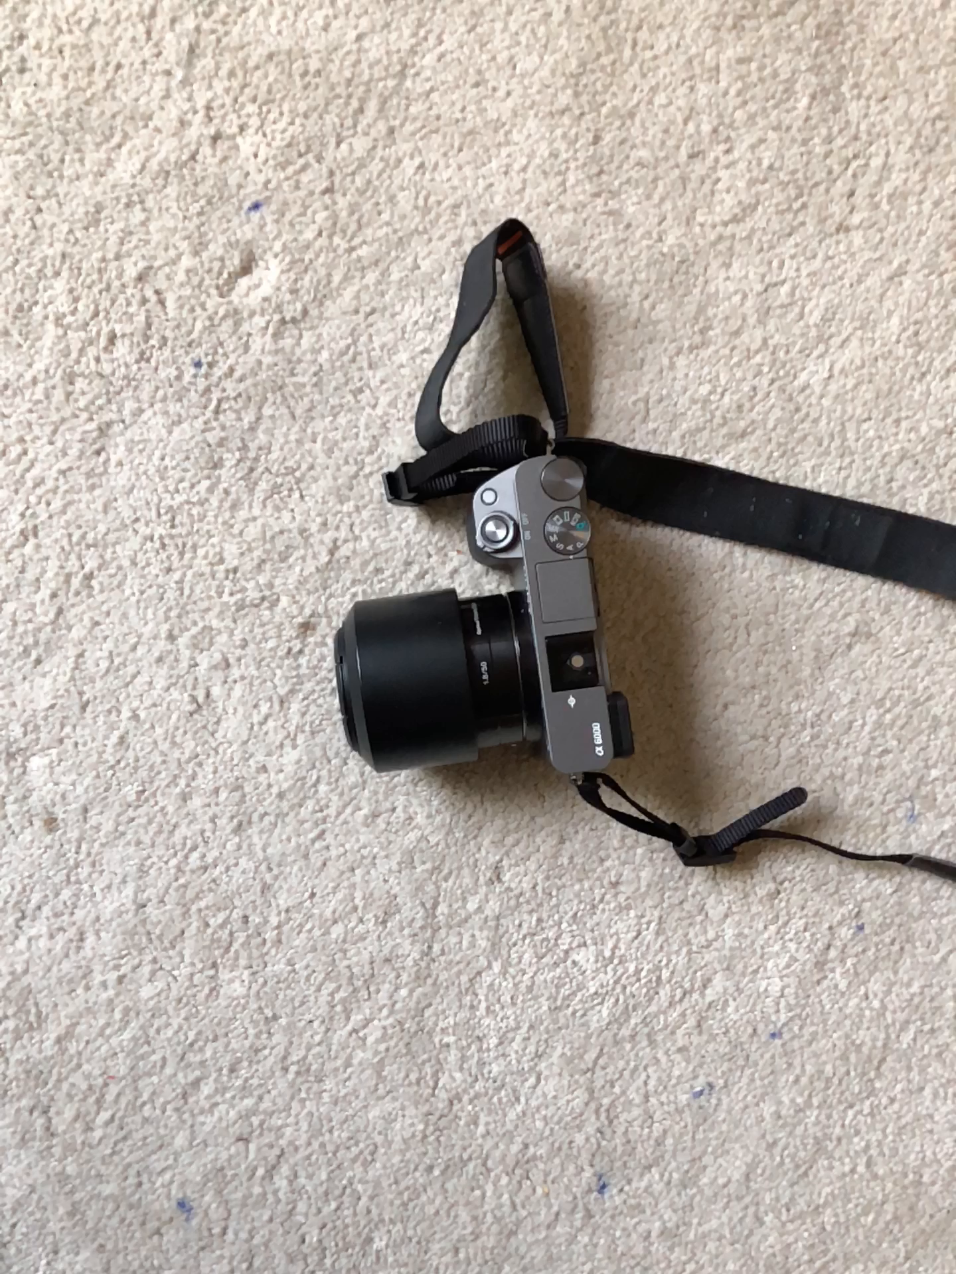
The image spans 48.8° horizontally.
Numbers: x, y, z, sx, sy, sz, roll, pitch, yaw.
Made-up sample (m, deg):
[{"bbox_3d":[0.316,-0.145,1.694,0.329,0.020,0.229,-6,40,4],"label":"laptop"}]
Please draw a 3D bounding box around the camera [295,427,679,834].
[{"bbox_3d":[0.001,-0.002,0.416,0.120,0.080,0.130,-8,88,-4],"label":"camera"}]
